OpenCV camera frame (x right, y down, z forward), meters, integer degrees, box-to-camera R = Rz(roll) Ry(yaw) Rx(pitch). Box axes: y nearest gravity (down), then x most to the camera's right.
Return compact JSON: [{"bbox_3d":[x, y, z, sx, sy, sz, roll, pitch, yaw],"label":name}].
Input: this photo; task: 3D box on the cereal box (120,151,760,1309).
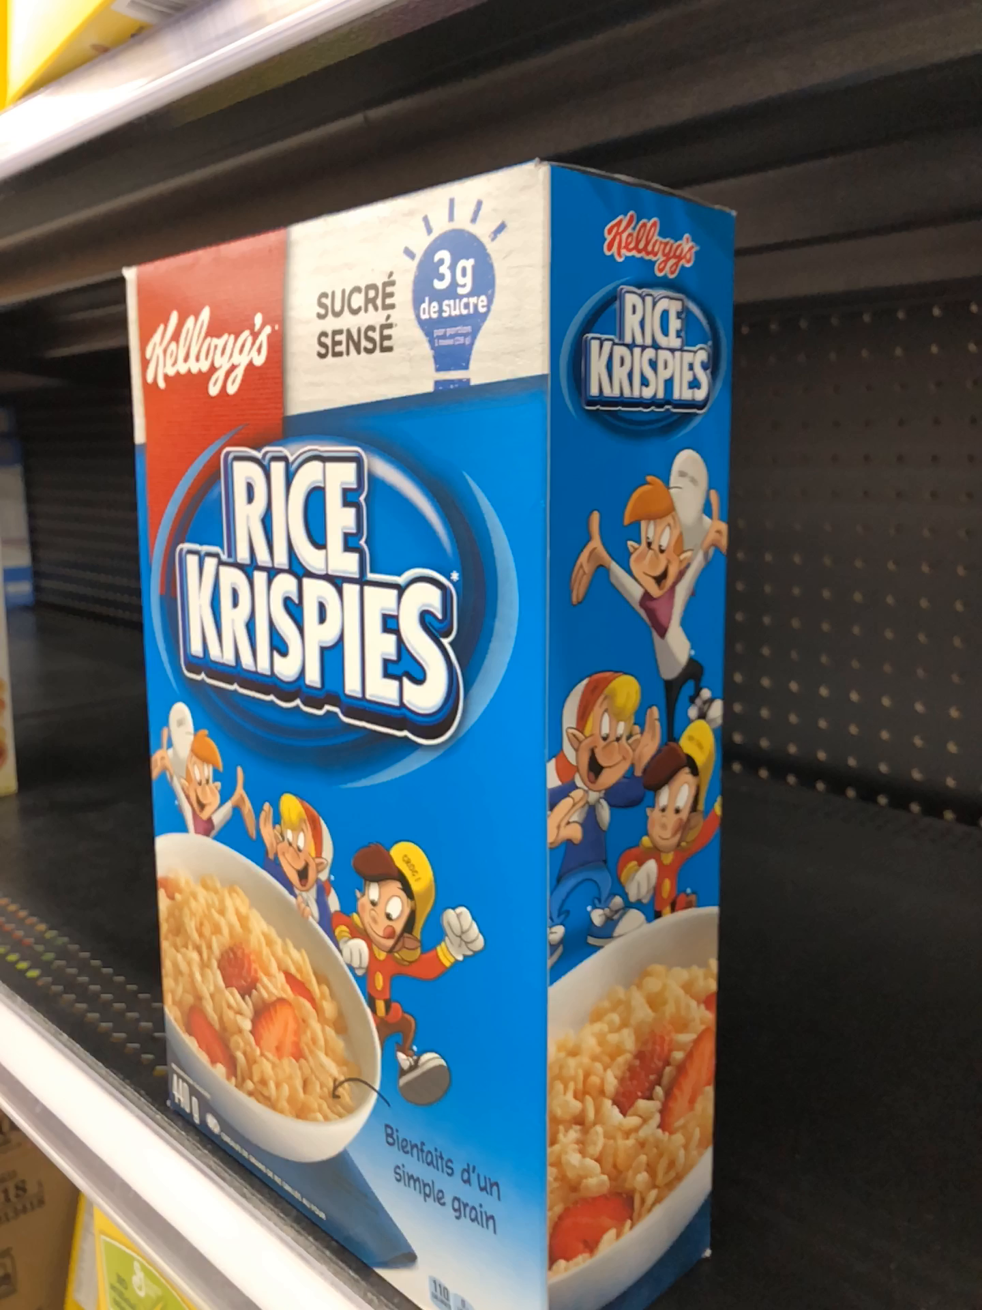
[{"bbox_3d":[-0.027,0.024,0.352,0.080,0.299,0.200,-9,13,-43],"label":"cereal box"}]
